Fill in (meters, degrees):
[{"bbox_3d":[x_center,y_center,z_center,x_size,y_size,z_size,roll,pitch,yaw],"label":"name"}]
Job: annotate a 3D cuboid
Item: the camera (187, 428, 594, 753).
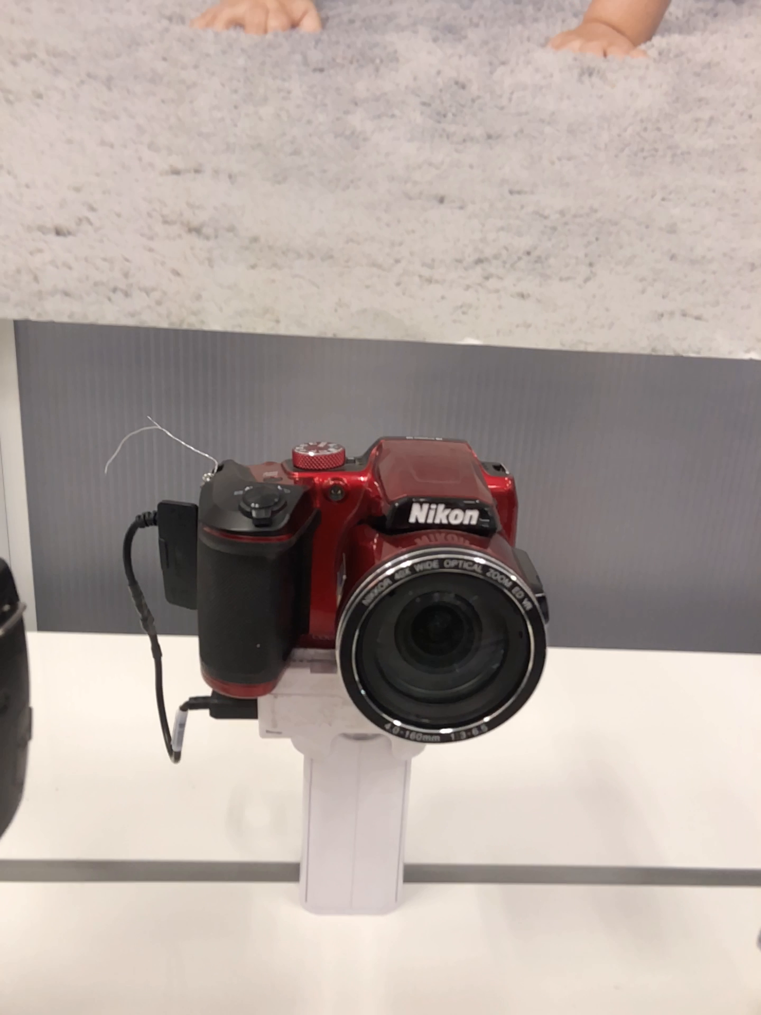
[{"bbox_3d":[-0.001,0.023,0.277,0.110,0.074,0.084,3,19,-4],"label":"camera"}]
